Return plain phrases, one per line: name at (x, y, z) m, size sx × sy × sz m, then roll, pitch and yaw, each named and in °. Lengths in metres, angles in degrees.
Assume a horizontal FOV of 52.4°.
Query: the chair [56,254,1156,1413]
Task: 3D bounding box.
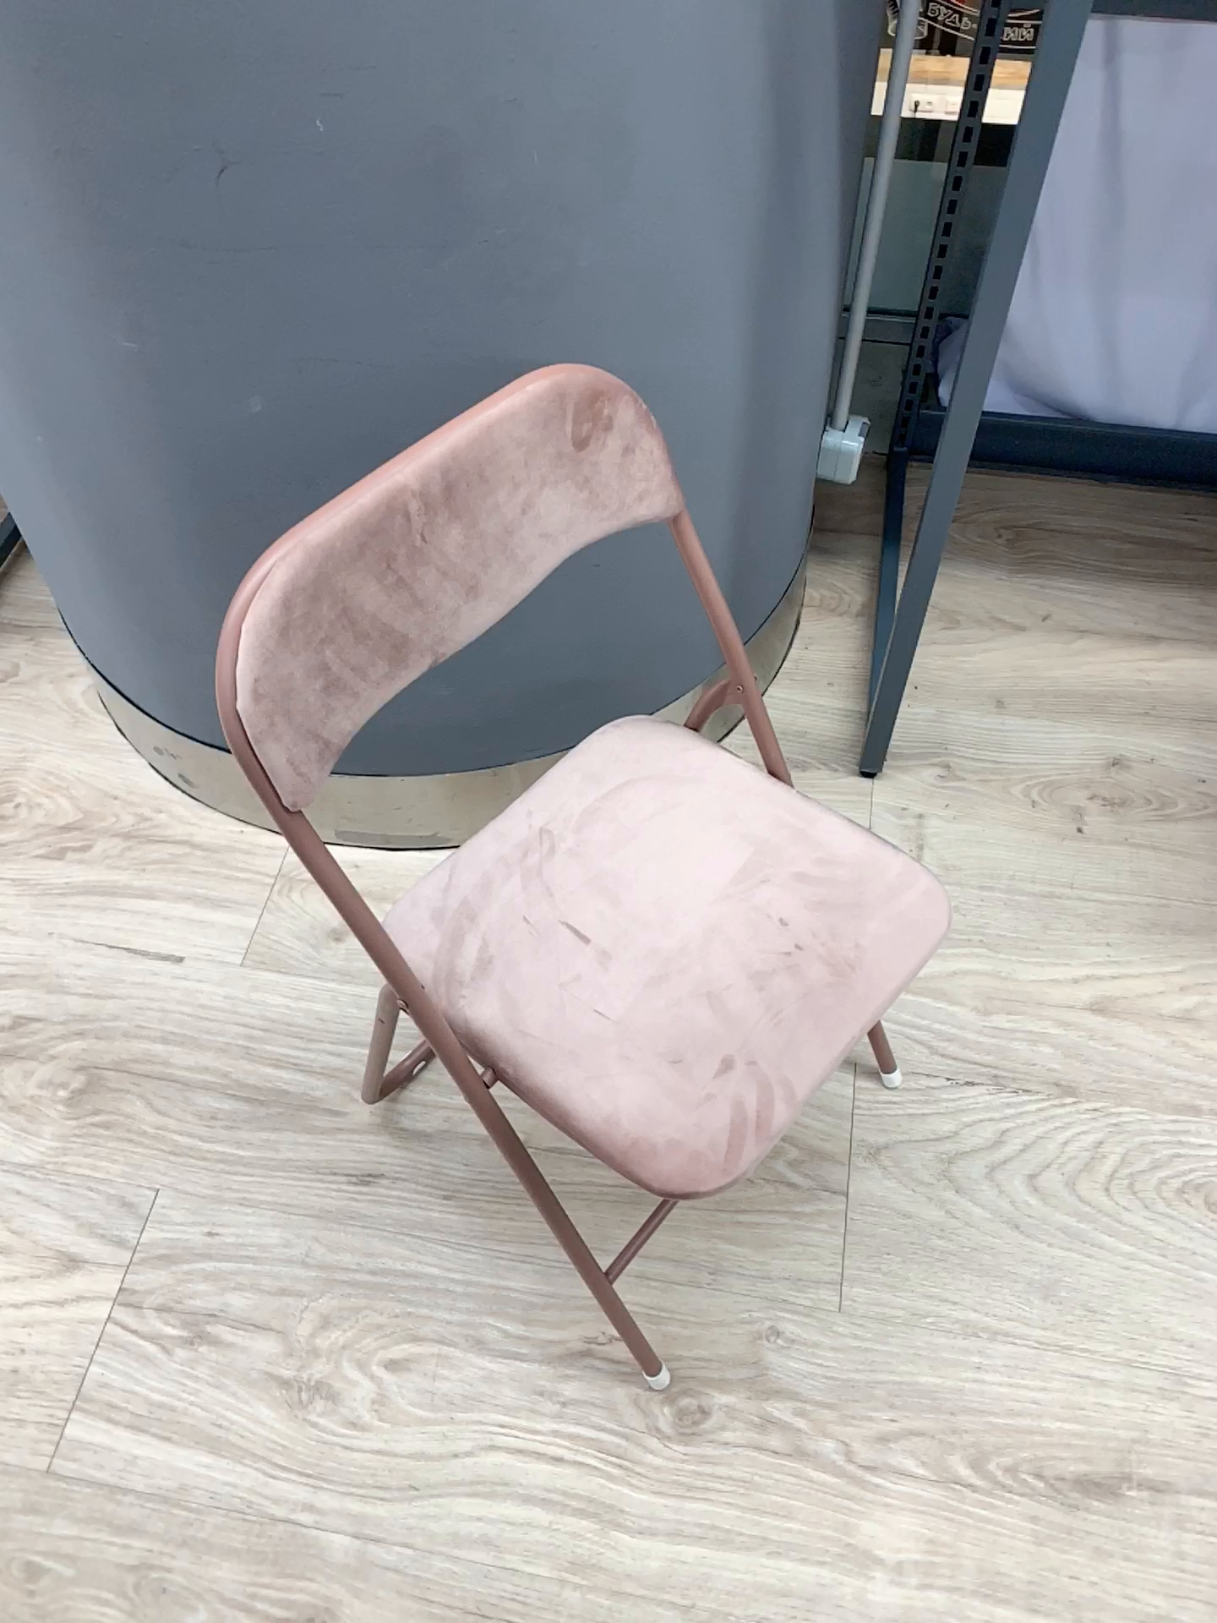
chair at (0.009, 0.077, 1.066) m, size 0.481 × 0.797 × 0.461 m, roll 33°, pitch 60°, yaw 22°
